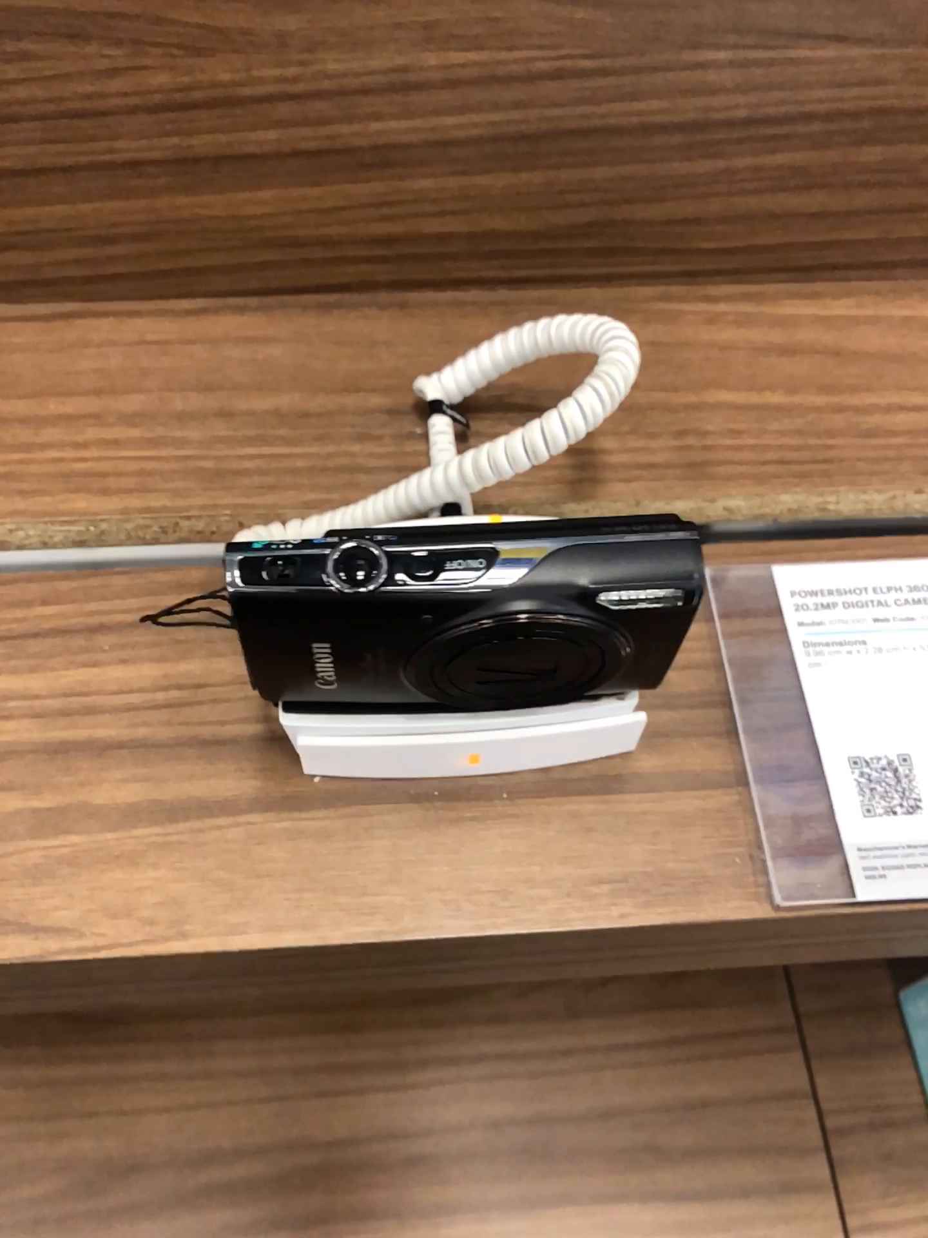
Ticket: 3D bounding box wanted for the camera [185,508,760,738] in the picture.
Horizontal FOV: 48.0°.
[{"bbox_3d":[0.001,0.003,0.229,0.110,0.060,0.020,-3,63,-5],"label":"camera"}]
